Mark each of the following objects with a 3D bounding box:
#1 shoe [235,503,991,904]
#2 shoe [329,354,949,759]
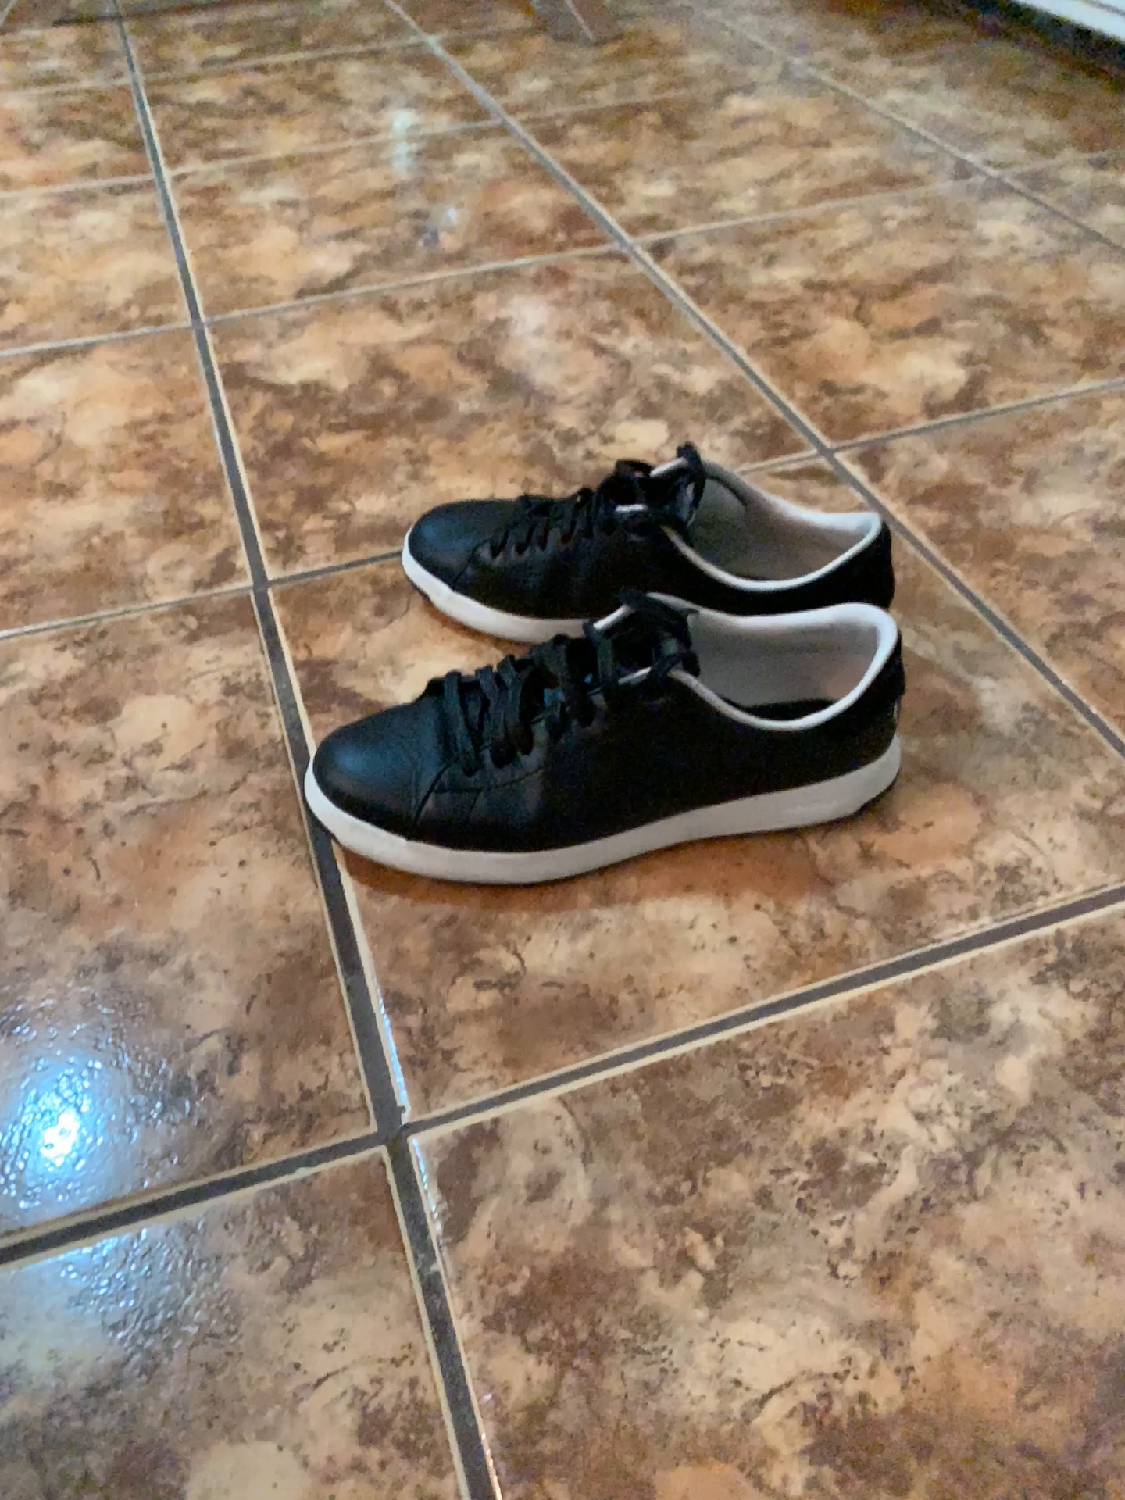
[{"bbox_3d":[0.016,-0.019,0.454,0.255,0.103,0.090,-5,44,-3],"label":"shoe"},{"bbox_3d":[0.030,-0.096,0.532,0.255,0.093,0.087,19,48,20],"label":"shoe"}]
